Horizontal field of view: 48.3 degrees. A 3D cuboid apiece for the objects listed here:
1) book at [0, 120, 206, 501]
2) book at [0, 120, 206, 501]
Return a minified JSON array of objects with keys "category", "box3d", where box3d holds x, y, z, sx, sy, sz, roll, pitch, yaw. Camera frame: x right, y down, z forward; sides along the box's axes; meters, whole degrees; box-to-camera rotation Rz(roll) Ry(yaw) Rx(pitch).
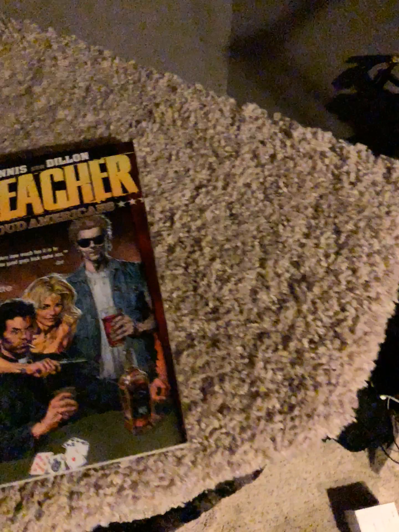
[{"category":"book","box3d":[-0.110,0.009,0.341,0.170,0.020,0.270,-12,64,-6]},{"category":"book","box3d":[-0.110,0.009,0.341,0.170,0.020,0.270,-12,64,-6]}]
